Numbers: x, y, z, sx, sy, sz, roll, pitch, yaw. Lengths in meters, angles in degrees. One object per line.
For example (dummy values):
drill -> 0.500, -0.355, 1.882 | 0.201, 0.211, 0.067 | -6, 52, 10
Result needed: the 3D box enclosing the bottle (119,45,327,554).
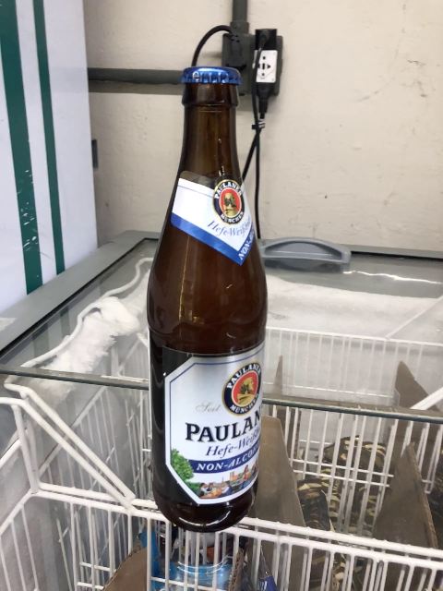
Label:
bottle -> -0.003, 0.007, 0.258 | 0.070, 0.238, 0.060 | -14, 25, -37
